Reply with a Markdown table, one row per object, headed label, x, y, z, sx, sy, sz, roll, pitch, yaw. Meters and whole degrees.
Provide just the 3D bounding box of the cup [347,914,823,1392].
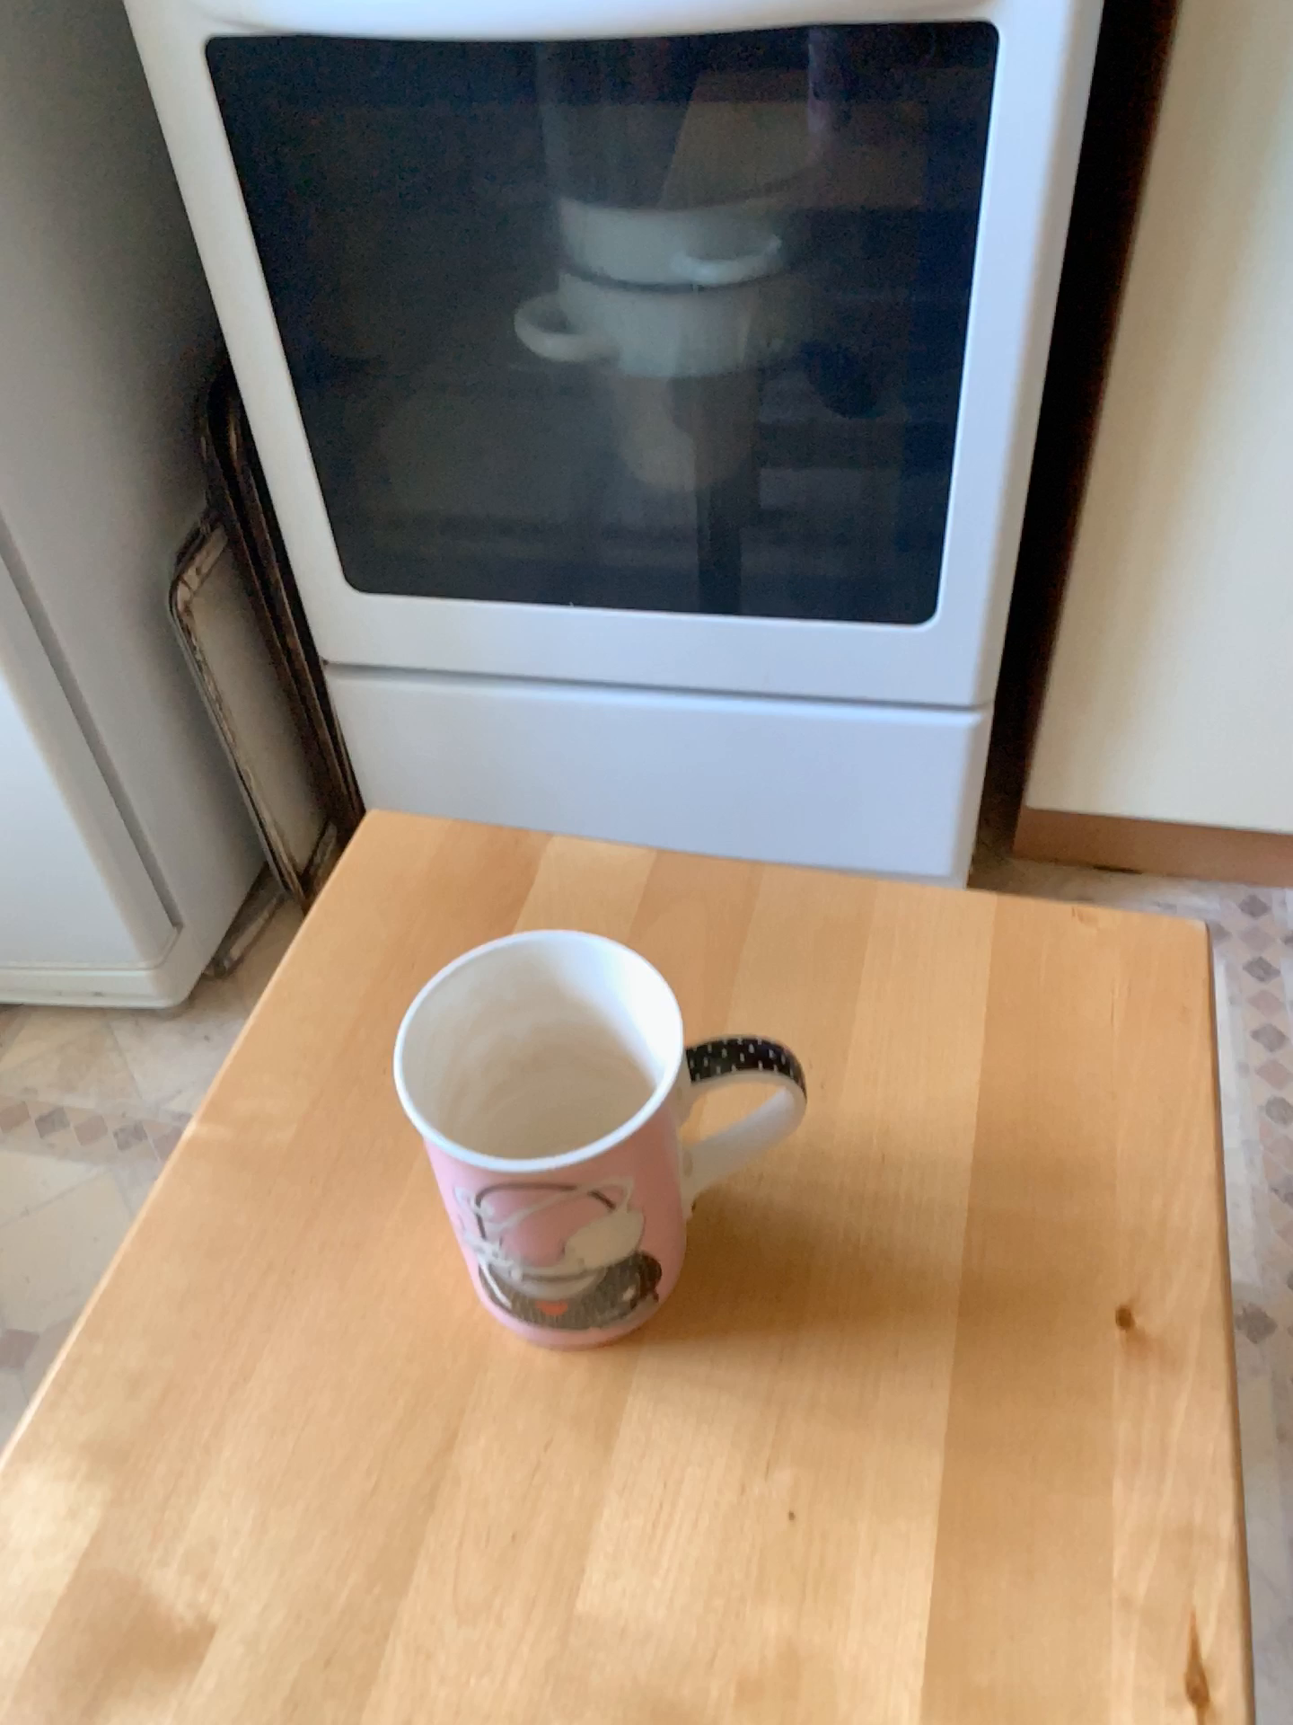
| label | x | y | z | sx | sy | sz | roll | pitch | yaw |
| --- | --- | --- | --- | --- | --- | --- | --- | --- | --- |
| cup | -0.013 | 0.082 | 0.368 | 0.110 | 0.099 | 0.081 | -5 | 45 | 0 |
